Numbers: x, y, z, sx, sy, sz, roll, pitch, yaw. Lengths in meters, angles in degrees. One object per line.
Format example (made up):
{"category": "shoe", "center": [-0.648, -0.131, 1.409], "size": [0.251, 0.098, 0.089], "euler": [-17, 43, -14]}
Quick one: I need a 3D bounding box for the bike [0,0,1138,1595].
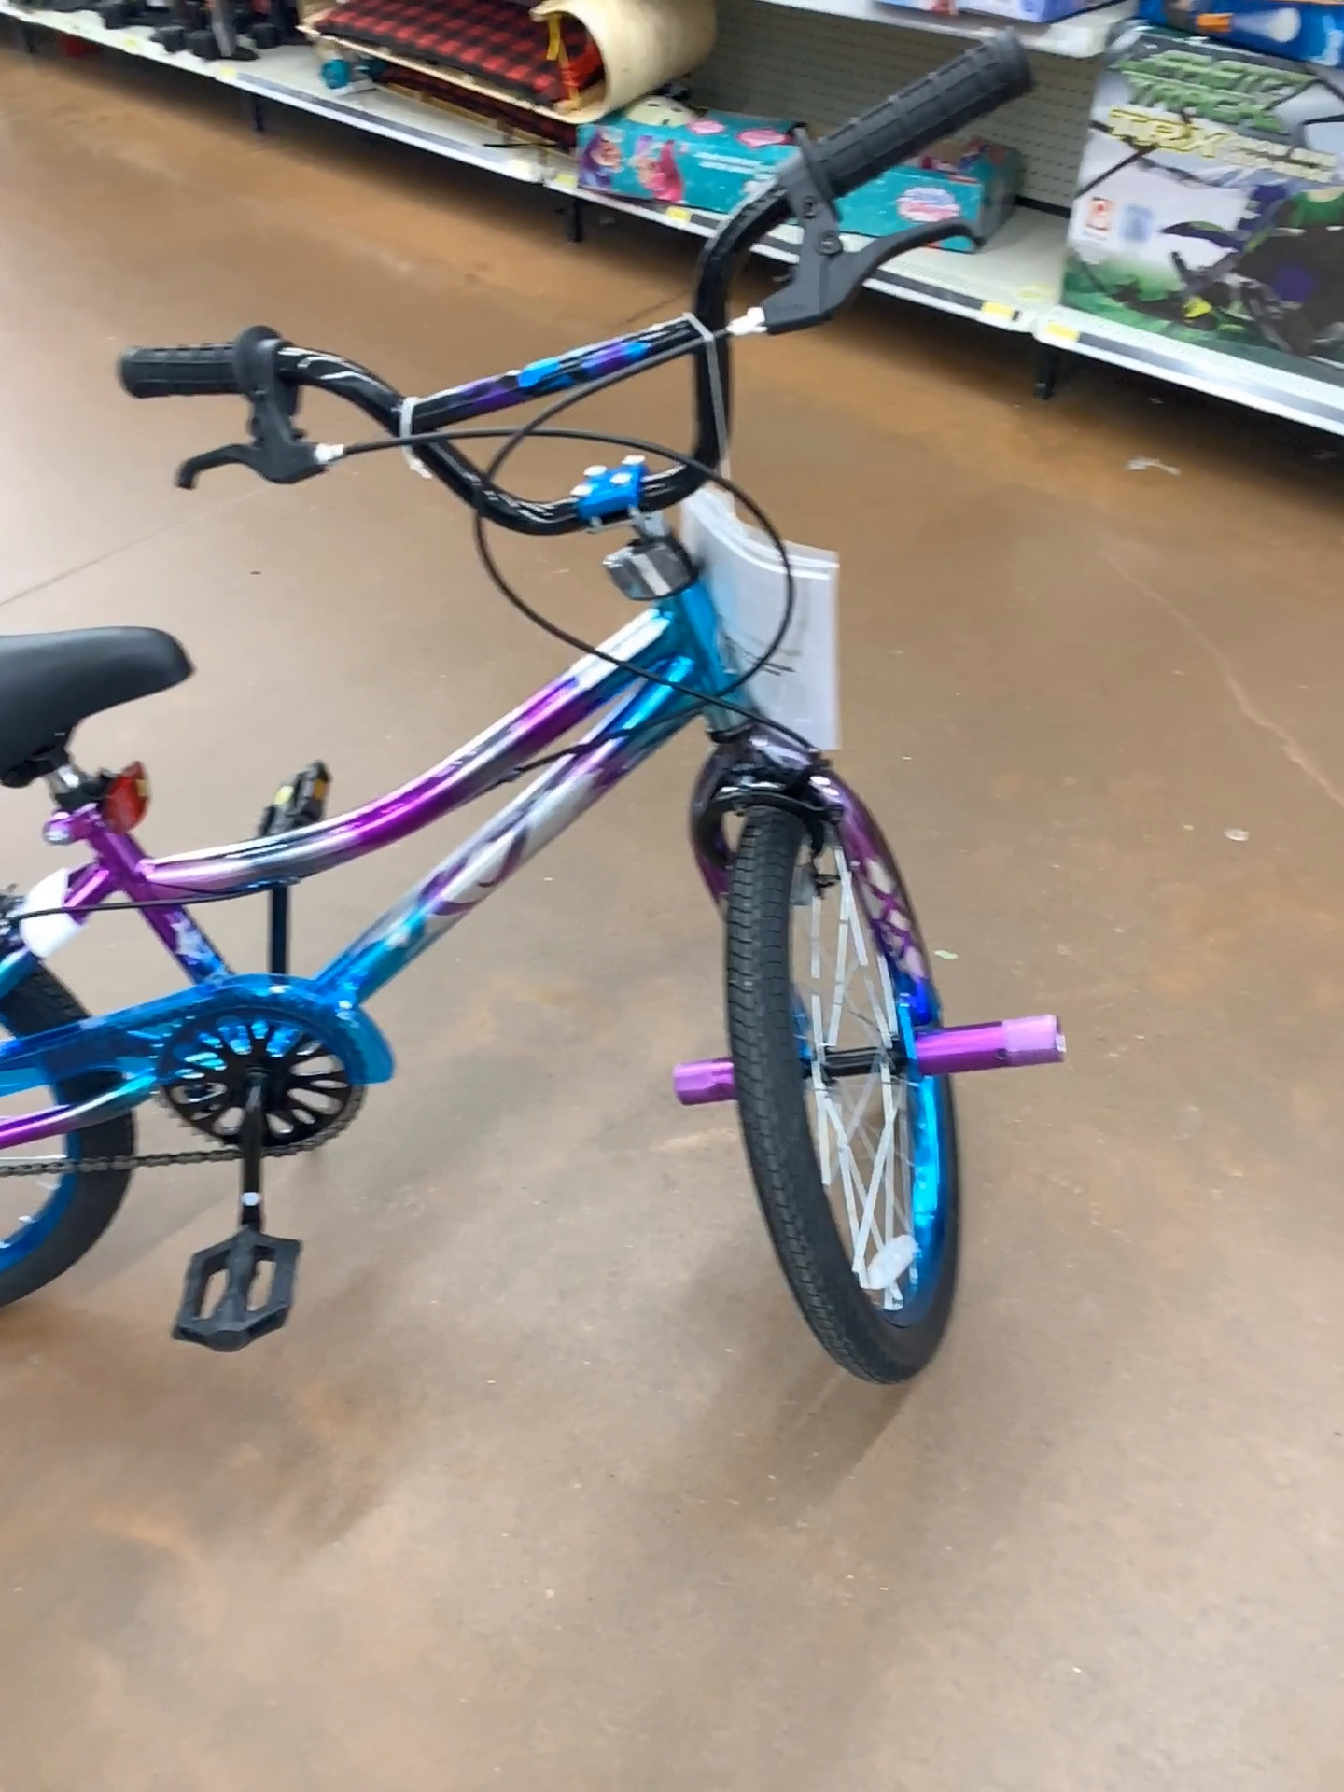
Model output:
{"category": "bike", "center": [-0.360, -0.135, 1.036], "size": [1.119, 0.876, 0.623], "euler": [-10, 45, -11]}
